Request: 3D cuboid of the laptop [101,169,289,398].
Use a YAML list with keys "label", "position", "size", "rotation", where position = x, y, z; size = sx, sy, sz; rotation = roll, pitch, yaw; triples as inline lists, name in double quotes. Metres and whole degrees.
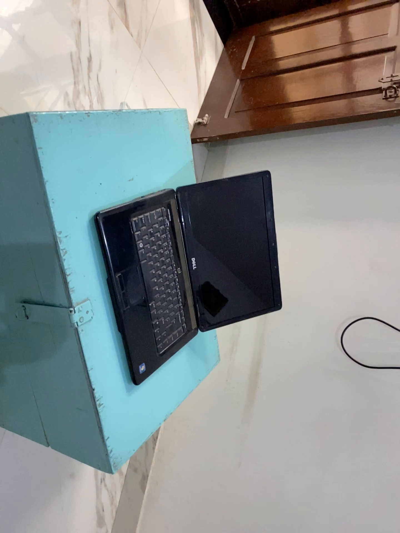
- label: "laptop"
  position: [0.030, 0.007, 0.908]
  size: [0.414, 0.162, 0.363]
  rotation: [-34, 121, -51]
